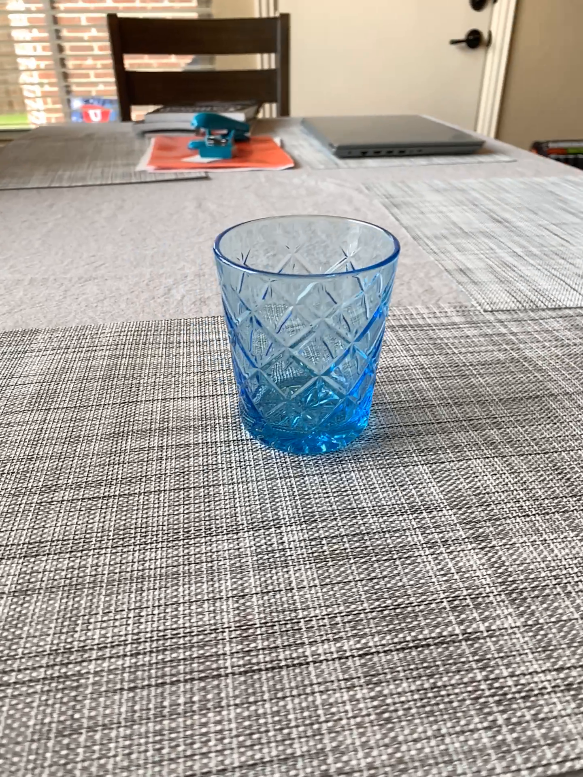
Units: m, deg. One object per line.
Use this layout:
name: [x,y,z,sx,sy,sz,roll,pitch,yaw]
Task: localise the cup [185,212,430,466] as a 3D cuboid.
cup: [0.002,-0.028,0.285,0.093,0.085,0.088,0,30,0]
